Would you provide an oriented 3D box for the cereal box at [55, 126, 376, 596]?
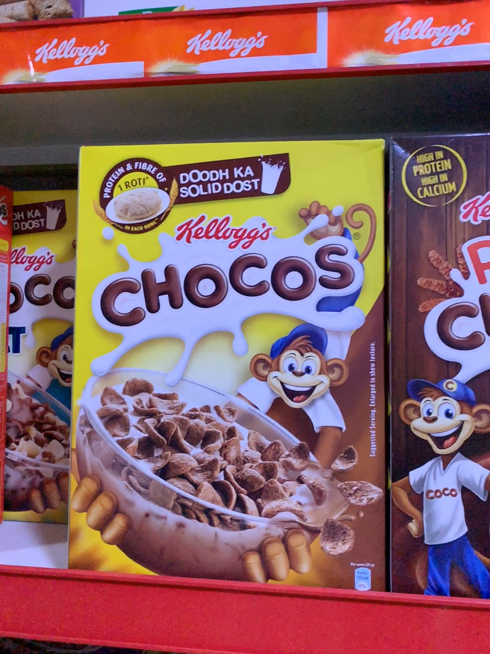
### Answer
[{"bbox_3d":[-0.014,0.015,0.301,0.170,0.240,0.060,0,-2,7],"label":"cereal box"}]
